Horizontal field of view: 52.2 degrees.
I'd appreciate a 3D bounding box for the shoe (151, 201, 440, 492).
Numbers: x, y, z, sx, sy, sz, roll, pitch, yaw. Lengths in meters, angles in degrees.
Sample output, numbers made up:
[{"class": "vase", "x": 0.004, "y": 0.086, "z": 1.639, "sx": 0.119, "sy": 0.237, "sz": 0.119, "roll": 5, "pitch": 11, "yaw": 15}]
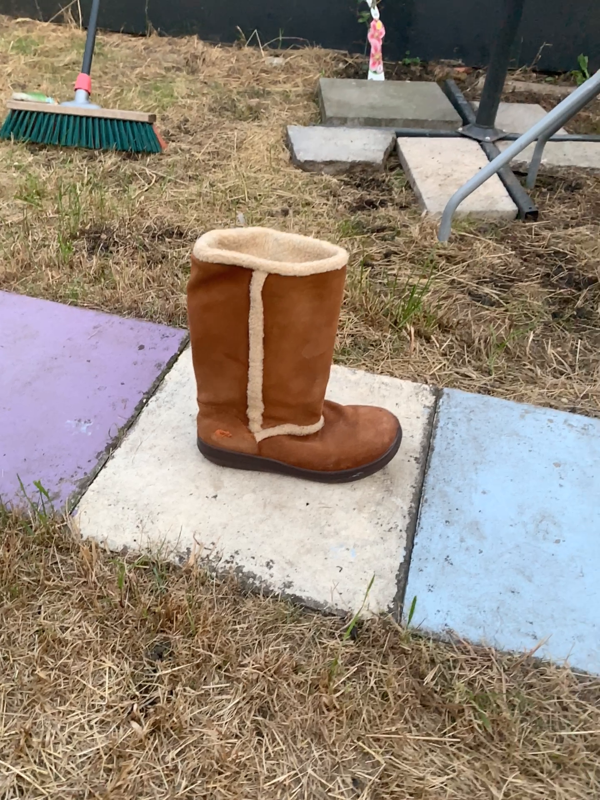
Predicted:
[{"class": "shoe", "x": -0.004, "y": -0.048, "z": 0.687, "sx": 0.260, "sy": 0.297, "sz": 0.111, "roll": 5, "pitch": 41, "yaw": 3}]
